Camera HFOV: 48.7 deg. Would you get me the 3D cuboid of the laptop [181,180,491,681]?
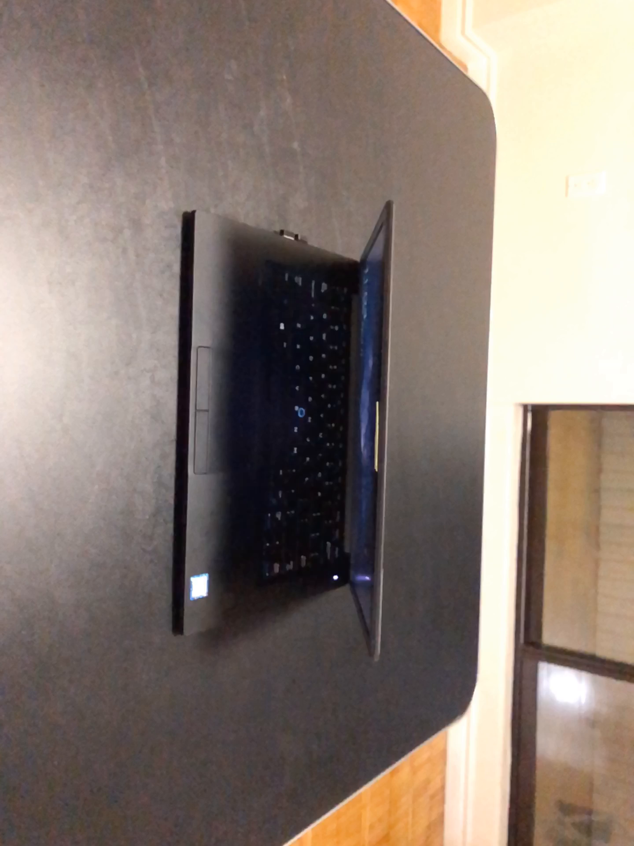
[{"bbox_3d":[0.026,0.001,0.576,0.221,0.142,0.318,1,91,-53],"label":"laptop"}]
